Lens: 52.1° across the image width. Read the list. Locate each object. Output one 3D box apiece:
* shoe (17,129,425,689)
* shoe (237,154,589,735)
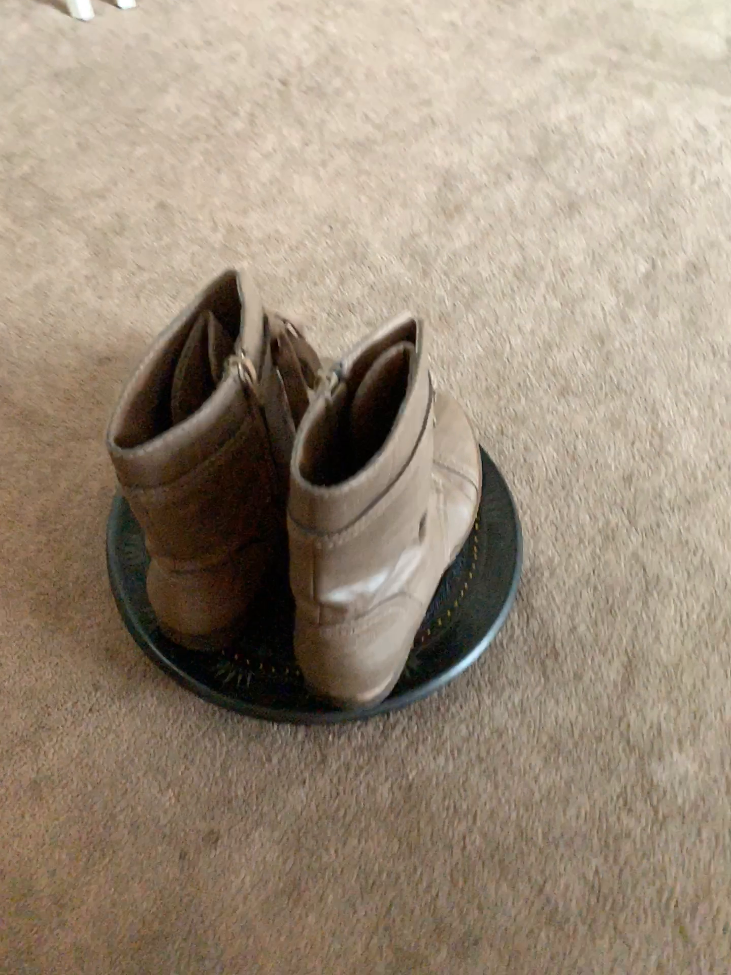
[{"bbox_3d":[-0.060,-0.052,0.466,0.100,0.198,0.272,17,54,9],"label":"shoe"},{"bbox_3d":[0.036,-0.029,0.450,0.100,0.198,0.272,17,54,9],"label":"shoe"}]
